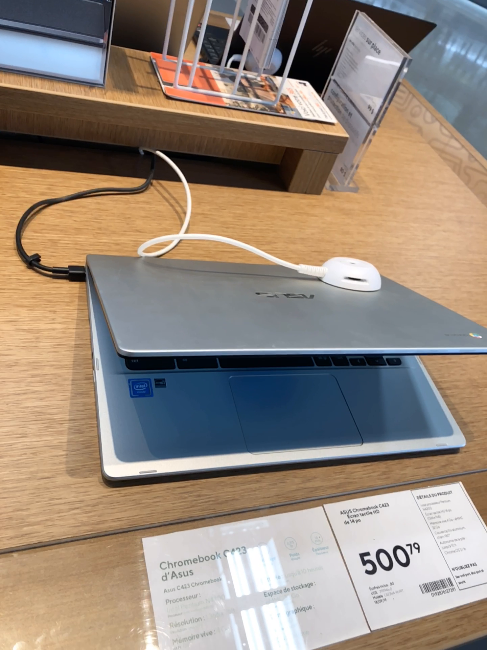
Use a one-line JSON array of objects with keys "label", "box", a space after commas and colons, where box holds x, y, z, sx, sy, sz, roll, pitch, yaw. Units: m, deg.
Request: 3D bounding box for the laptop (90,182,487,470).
[{"label": "laptop", "box": [0.035, -0.006, 0.457, 0.304, 0.080, 0.206, 2, 49, -24]}]
